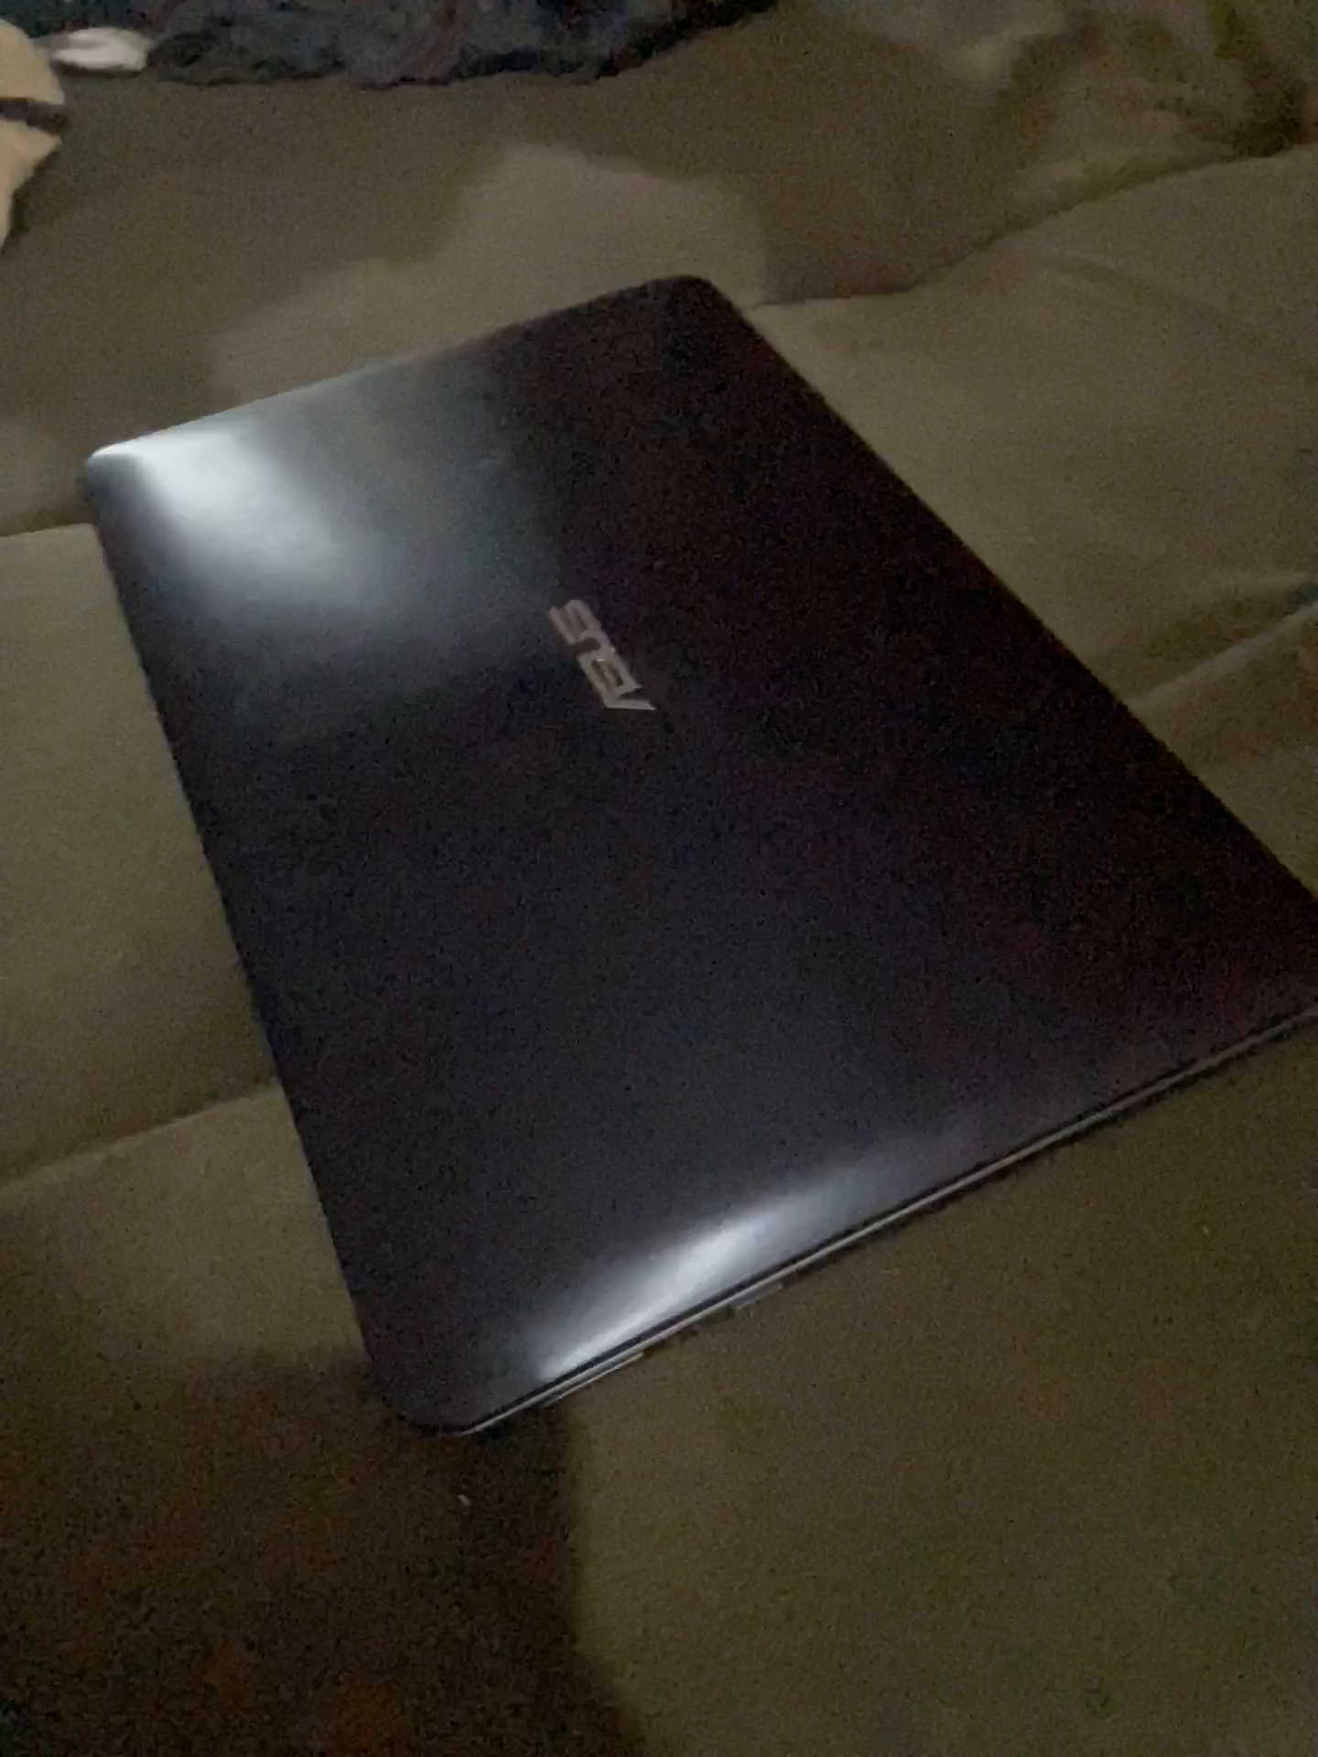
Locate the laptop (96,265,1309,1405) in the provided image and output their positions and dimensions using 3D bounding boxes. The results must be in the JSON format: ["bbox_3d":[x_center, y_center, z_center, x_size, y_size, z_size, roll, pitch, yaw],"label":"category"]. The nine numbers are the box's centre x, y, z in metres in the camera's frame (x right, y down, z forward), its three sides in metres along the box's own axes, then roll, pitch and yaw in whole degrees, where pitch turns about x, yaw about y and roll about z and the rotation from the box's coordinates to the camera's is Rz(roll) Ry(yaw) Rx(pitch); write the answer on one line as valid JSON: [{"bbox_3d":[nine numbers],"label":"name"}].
[{"bbox_3d":[-0.023,-0.067,0.413,0.234,0.004,0.371,-22,55,-11],"label":"laptop"}]
